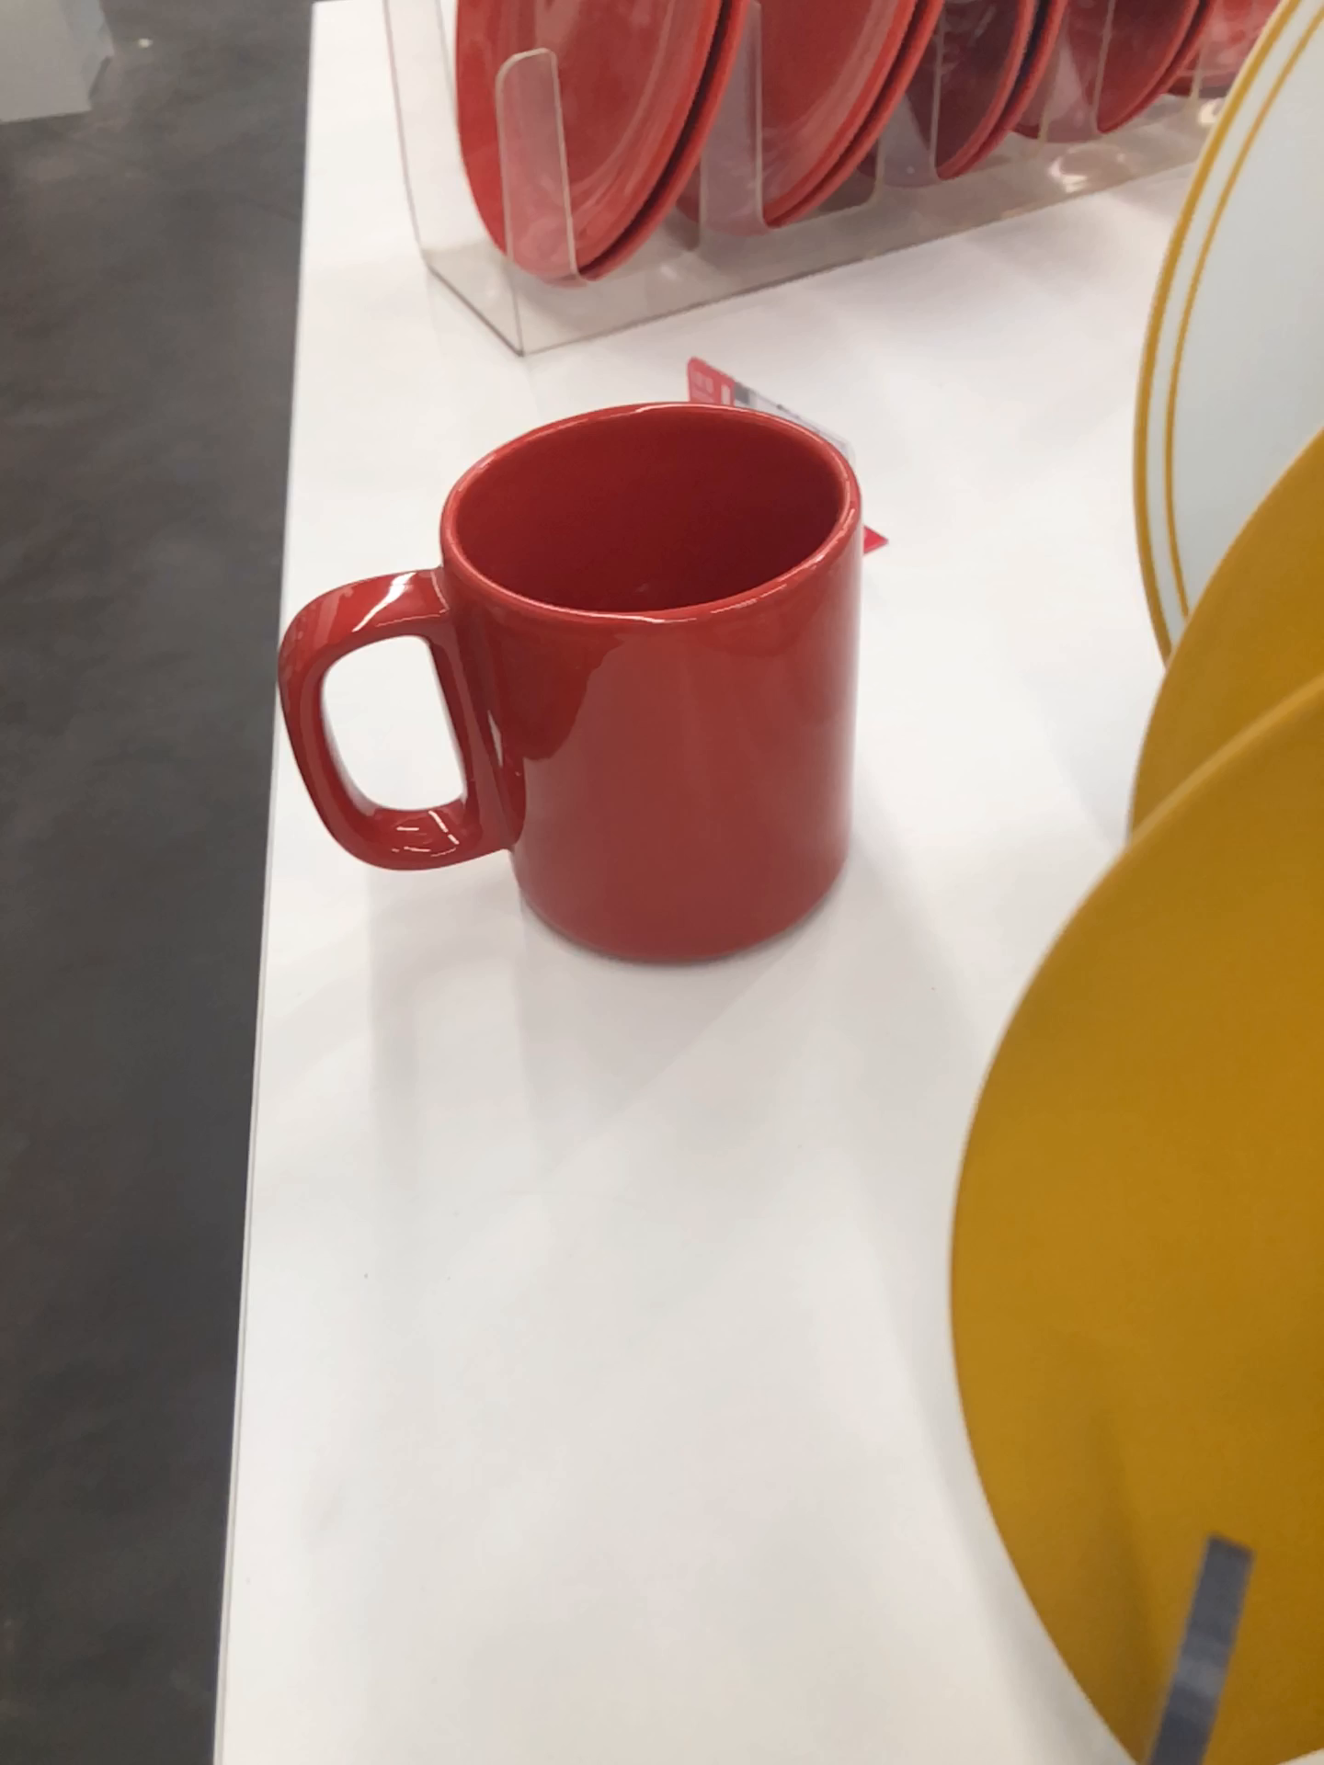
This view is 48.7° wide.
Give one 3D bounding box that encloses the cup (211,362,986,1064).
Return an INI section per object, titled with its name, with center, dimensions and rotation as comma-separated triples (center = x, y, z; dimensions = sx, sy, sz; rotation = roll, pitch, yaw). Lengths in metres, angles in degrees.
[cup]
center = -0.015, -0.039, 0.306
dimensions = 0.129, 0.082, 0.091
rotation = -14, 44, -9
